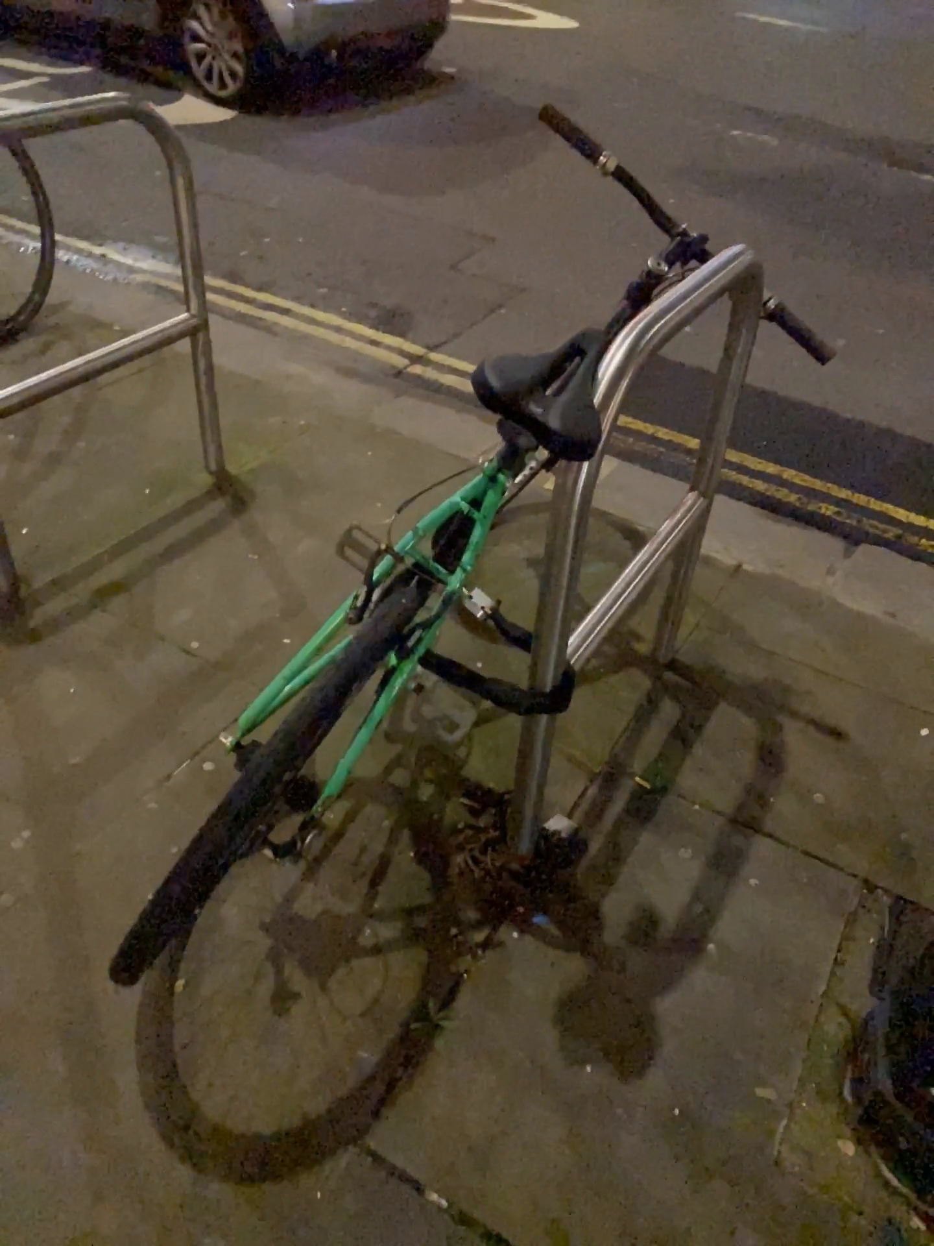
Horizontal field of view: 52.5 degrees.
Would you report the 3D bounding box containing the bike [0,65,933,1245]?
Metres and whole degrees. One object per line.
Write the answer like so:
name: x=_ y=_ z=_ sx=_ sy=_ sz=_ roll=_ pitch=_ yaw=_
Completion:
bike: x=0.223 y=-0.156 z=1.527 sx=0.639 sy=1.014 sz=1.696 roll=18 pitch=41 yaw=16
